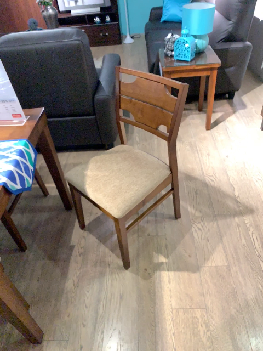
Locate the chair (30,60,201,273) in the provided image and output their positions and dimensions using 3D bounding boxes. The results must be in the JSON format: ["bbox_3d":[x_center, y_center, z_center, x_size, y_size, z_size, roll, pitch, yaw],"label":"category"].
[{"bbox_3d":[-0.030,-0.047,1.386,0.531,0.826,0.471,-36,48,-29],"label":"chair"}]
